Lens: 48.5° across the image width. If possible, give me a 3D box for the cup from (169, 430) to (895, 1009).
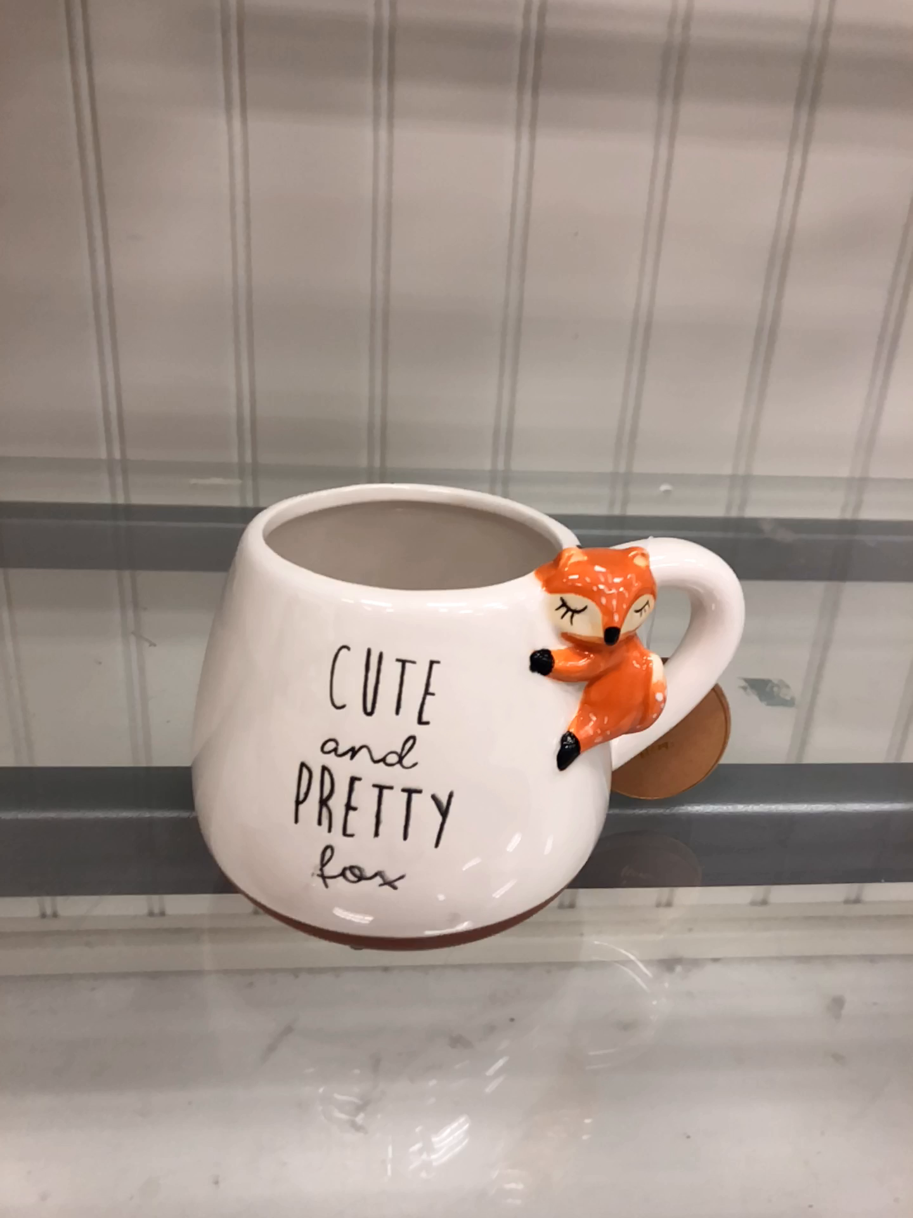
[{"bbox_3d":[0.008,0.014,0.256,0.143,0.089,0.101,-5,26,-18],"label":"cup"}]
